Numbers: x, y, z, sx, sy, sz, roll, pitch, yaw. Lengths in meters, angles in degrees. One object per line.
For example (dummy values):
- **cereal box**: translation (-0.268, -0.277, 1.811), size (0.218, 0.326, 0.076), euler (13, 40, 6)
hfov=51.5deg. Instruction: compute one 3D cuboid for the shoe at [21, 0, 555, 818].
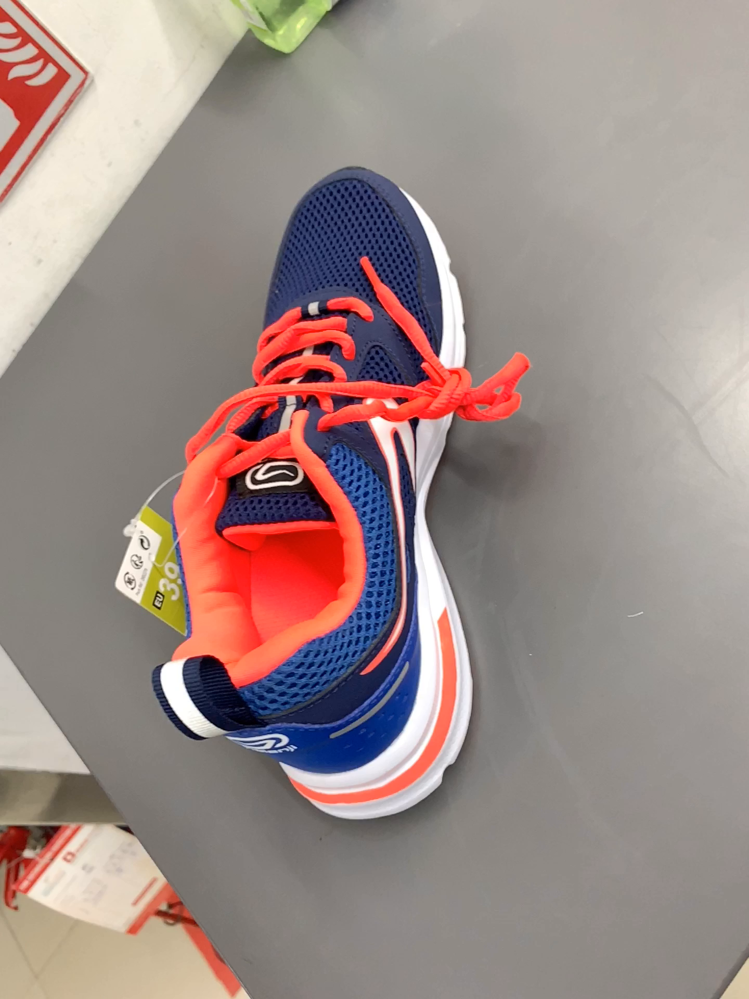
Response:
- **shoe**: translation (-0.018, -0.034, 0.303), size (0.110, 0.139, 0.290), euler (-12, 65, 25)
